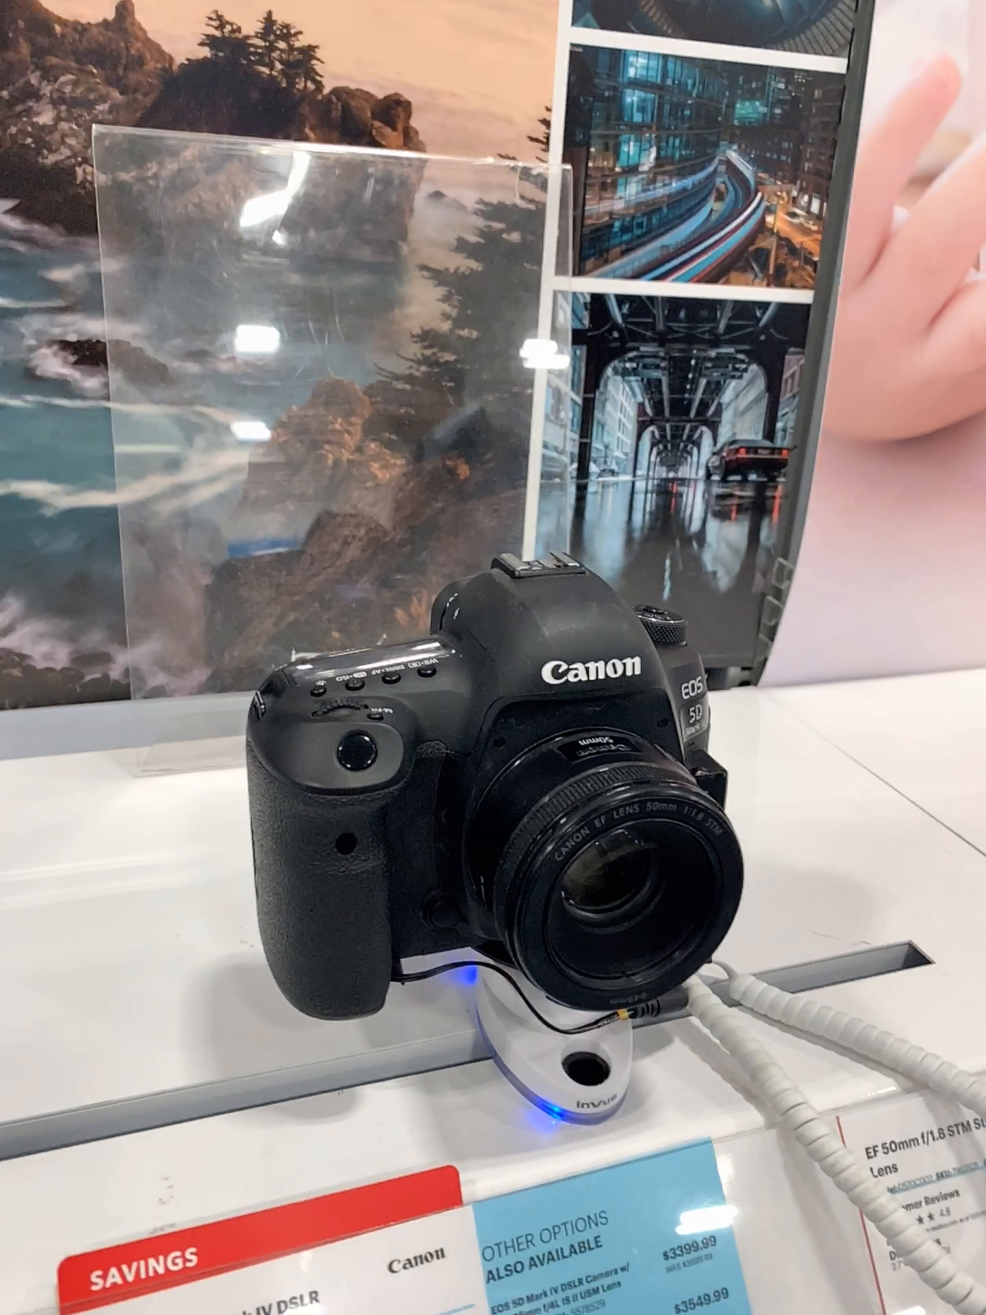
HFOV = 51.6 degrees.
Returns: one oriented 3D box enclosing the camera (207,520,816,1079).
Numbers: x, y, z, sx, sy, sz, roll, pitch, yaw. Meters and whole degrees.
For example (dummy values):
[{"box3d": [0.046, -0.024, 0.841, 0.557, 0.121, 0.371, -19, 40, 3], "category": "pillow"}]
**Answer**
[{"box3d": [-0.006, 0.028, 0.302, 0.140, 0.106, 0.112, -5, 23, -17], "category": "camera"}]
